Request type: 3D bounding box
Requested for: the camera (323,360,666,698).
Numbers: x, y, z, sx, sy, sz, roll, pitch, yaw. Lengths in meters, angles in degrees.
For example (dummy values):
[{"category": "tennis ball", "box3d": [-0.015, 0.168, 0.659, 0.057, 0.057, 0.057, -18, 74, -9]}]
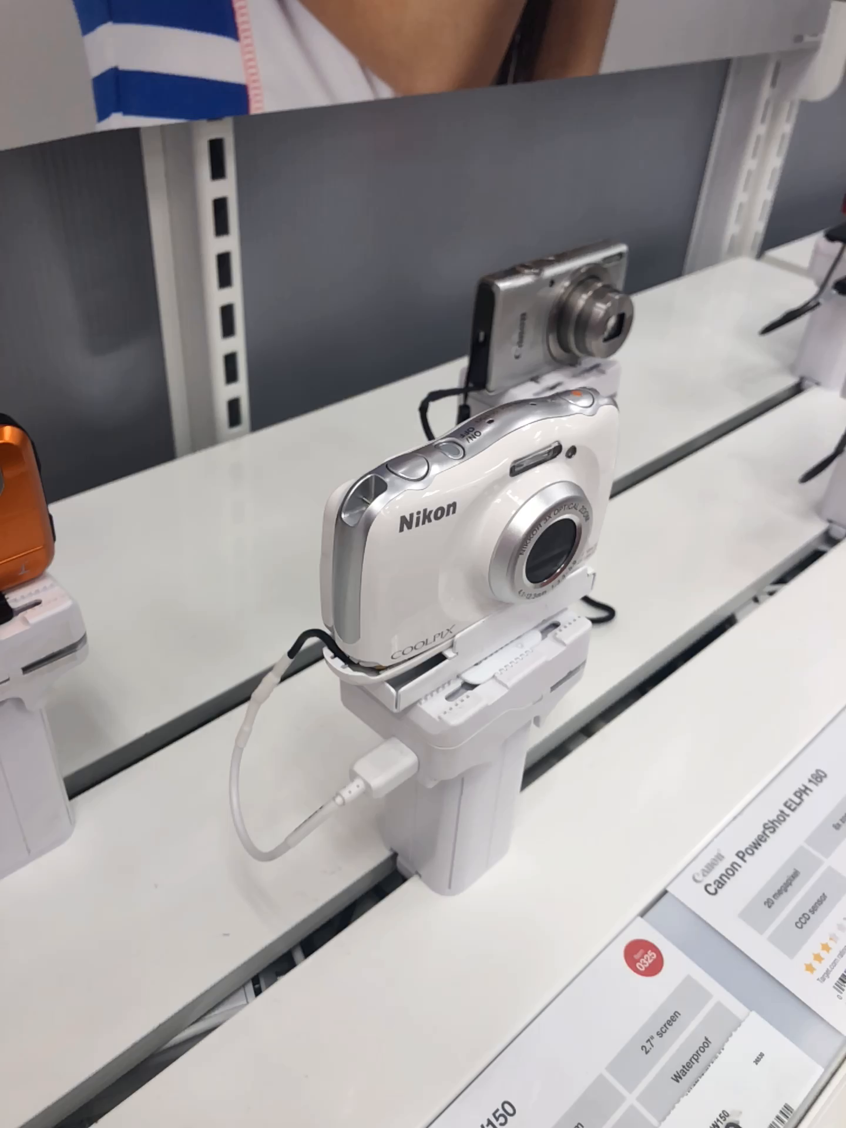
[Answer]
[{"category": "camera", "box3d": [0.022, -0.014, 0.274, 0.106, 0.056, 0.032, -28, 48, -36]}]
